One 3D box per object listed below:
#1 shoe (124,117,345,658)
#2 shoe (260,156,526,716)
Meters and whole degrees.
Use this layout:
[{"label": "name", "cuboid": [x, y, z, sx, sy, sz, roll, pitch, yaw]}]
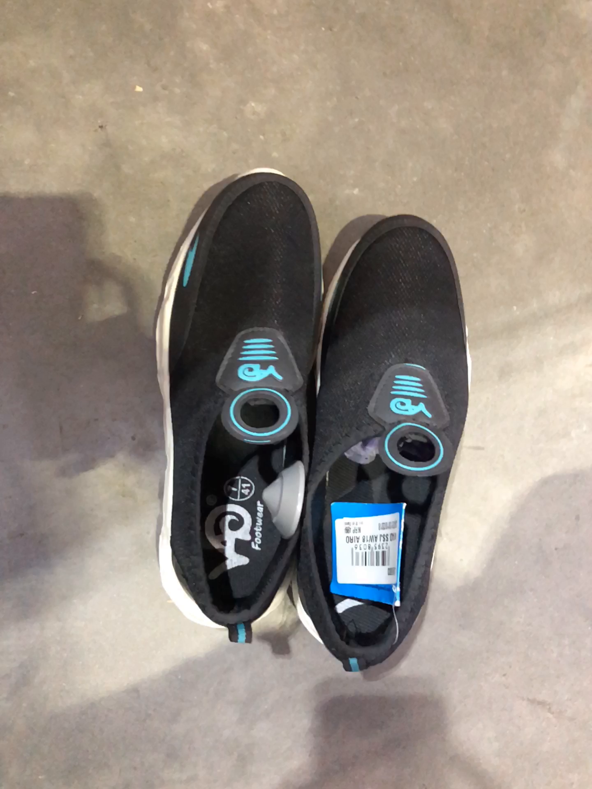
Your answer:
[{"label": "shoe", "cuboid": [-0.036, -0.003, 0.415, 0.110, 0.100, 0.300, 3, 84, -6]}, {"label": "shoe", "cuboid": [0.056, 0.022, 0.416, 0.110, 0.100, 0.300, 9, 83, -5]}]
